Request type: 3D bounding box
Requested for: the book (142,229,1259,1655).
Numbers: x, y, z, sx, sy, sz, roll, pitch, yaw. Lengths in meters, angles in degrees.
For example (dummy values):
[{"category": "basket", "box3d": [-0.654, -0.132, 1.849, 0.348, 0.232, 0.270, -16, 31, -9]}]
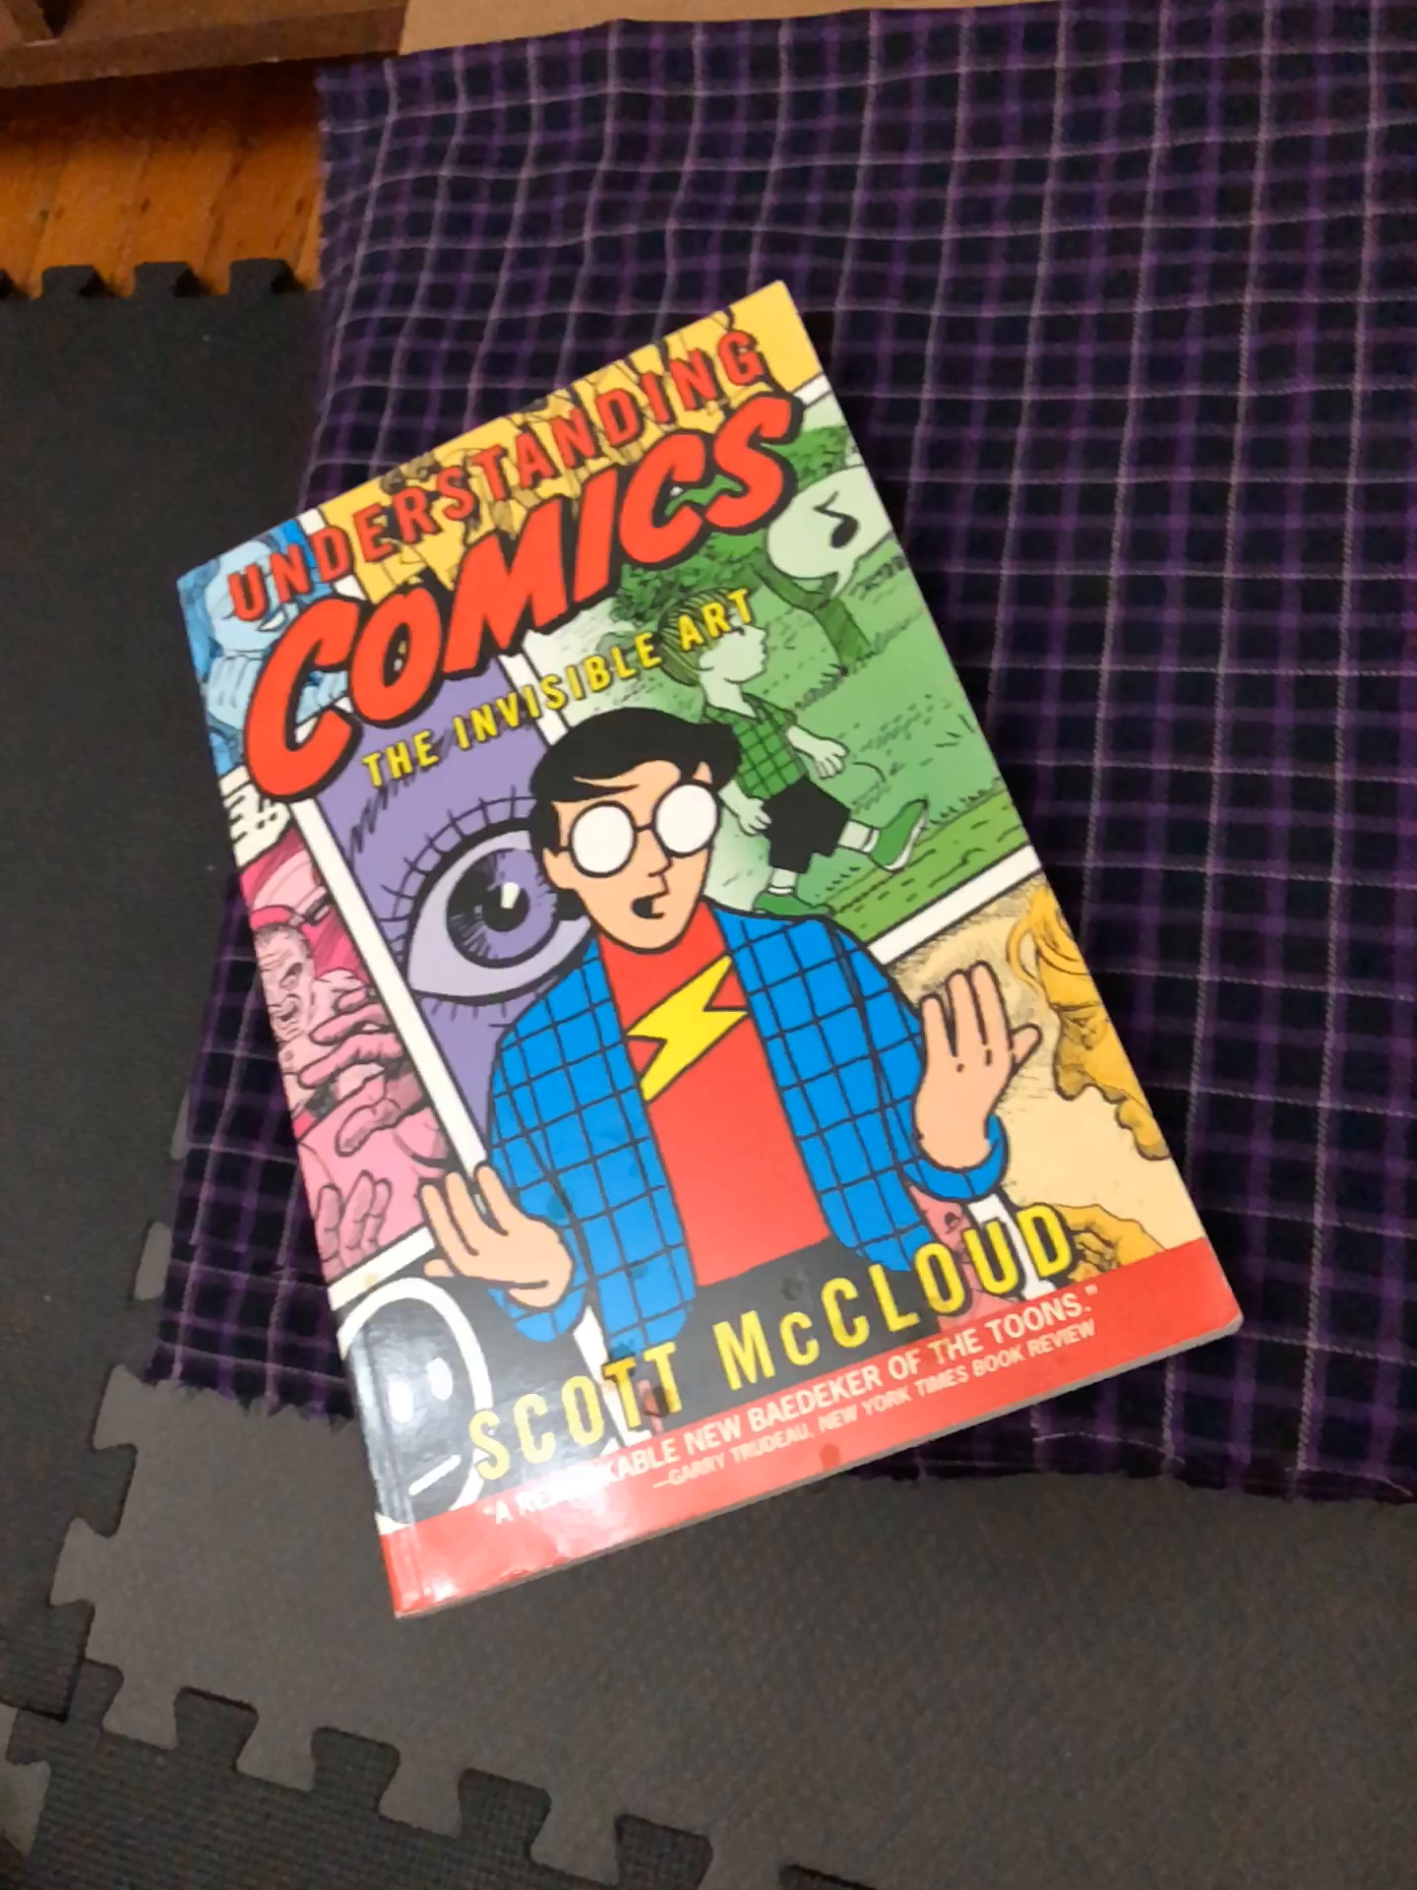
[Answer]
[{"category": "book", "box3d": [-0.022, -0.016, 0.340, 0.170, 0.020, 0.271, -22, 67, 9]}]
